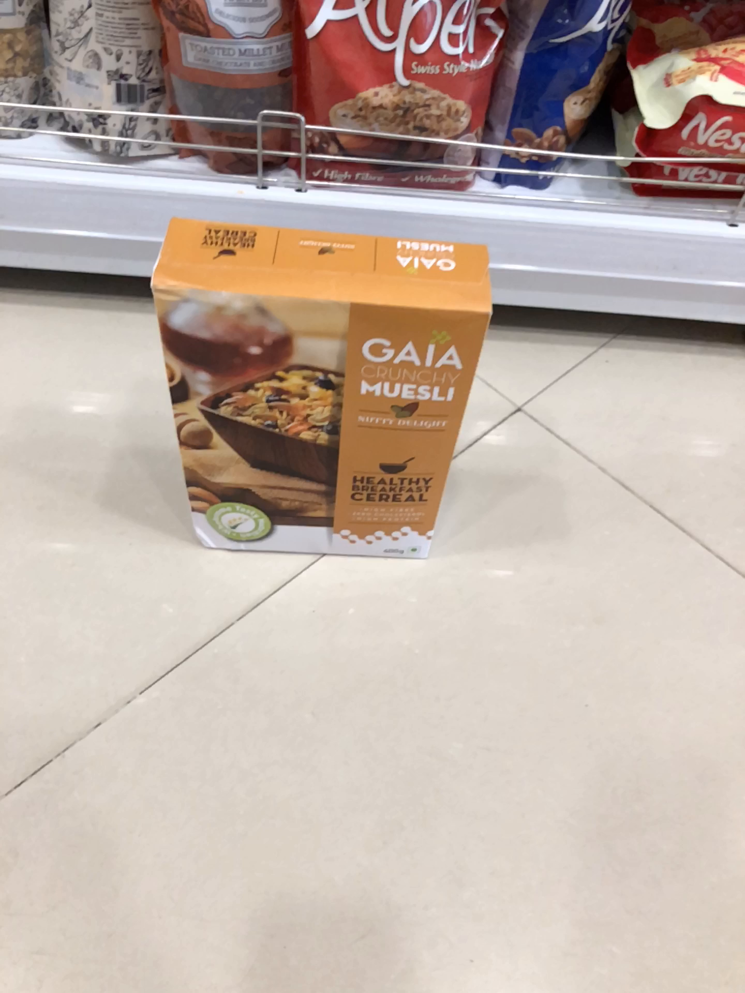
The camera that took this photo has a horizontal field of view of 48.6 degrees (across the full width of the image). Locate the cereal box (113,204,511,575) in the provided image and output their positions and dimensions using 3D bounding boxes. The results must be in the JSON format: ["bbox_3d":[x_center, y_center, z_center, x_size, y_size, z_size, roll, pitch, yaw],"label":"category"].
[{"bbox_3d":[-0.036,-0.047,0.512,0.190,0.248,0.060,4,54,-3],"label":"cereal box"}]
